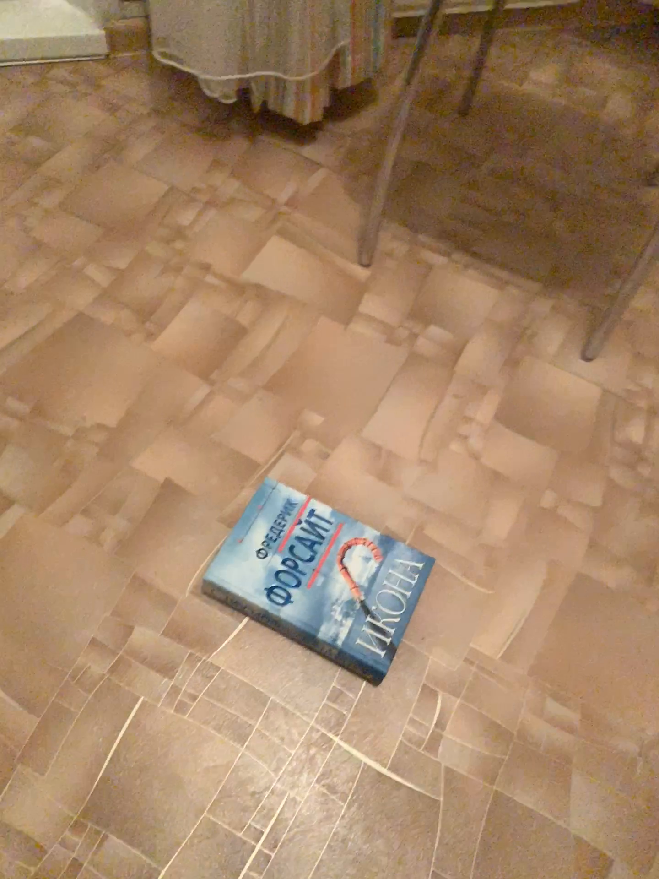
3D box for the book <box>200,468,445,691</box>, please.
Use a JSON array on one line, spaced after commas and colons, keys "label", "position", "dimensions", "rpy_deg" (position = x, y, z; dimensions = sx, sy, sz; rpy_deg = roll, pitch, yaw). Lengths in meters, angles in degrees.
[{"label": "book", "position": [-0.007, 0.153, 0.760], "dimensions": [0.223, 0.056, 0.153], "rpy_deg": [26, 60, 10]}]
